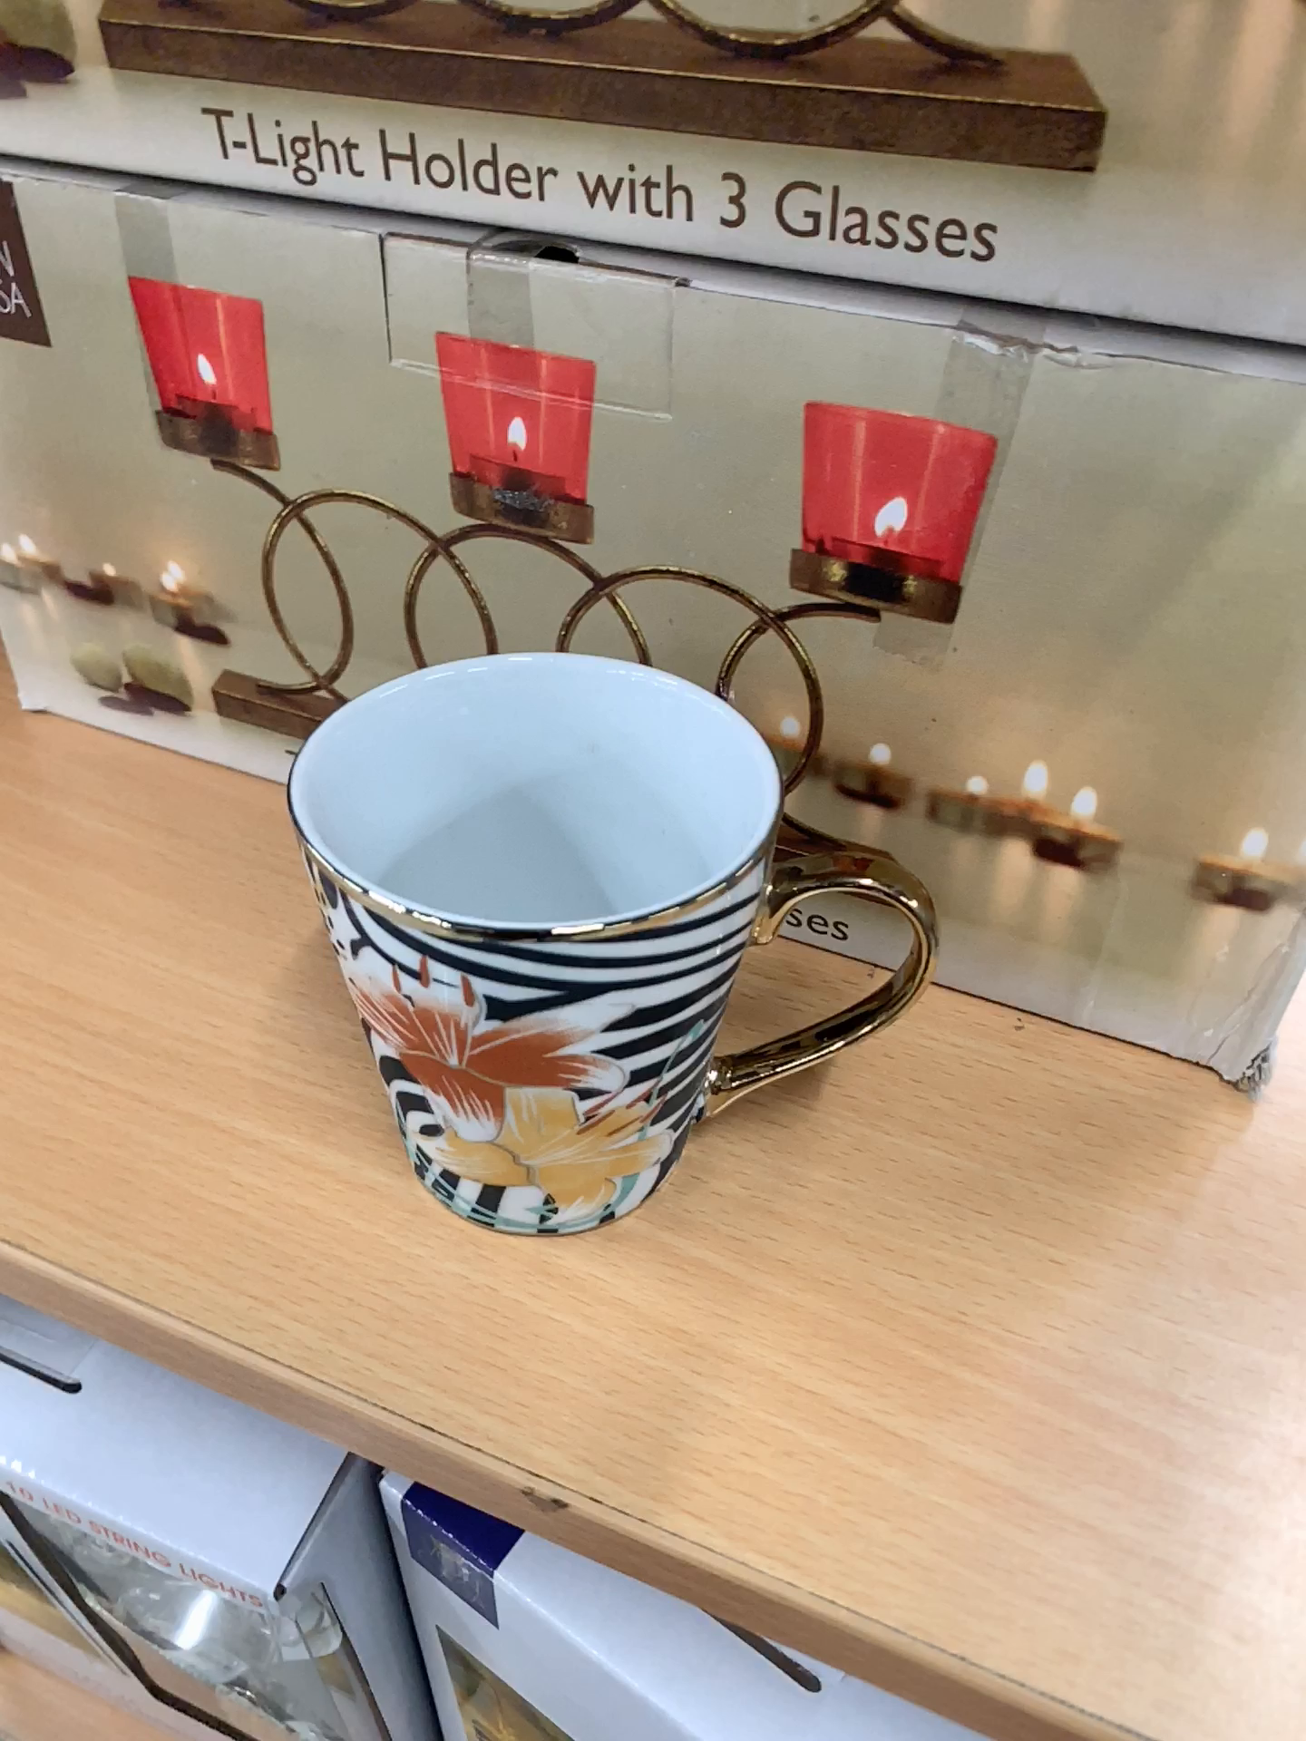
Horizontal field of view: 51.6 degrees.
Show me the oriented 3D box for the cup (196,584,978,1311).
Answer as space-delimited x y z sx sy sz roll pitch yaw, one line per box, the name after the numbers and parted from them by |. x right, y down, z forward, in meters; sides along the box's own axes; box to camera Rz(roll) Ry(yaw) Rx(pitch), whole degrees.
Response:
-0.007 0.011 0.222 0.100 0.080 0.070 8 39 4 | cup
